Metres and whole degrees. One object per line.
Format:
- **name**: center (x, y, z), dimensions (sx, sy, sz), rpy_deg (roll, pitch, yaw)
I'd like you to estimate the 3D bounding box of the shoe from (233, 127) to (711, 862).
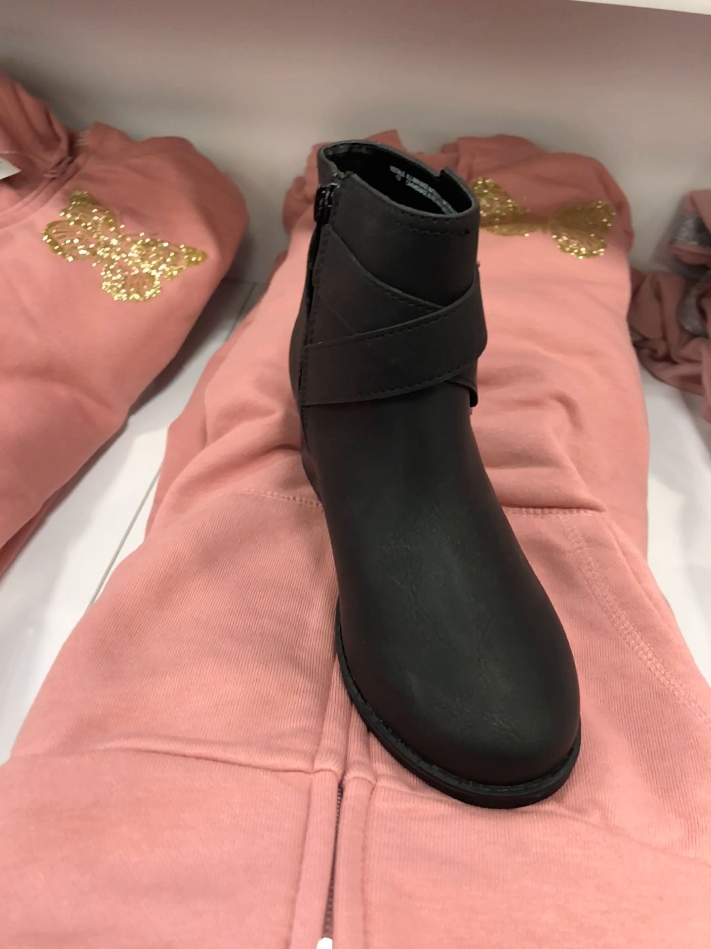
- **shoe**: center (0.023, -0.012, 0.259), dimensions (0.080, 0.129, 0.201), rpy_deg (-10, 42, -16)
